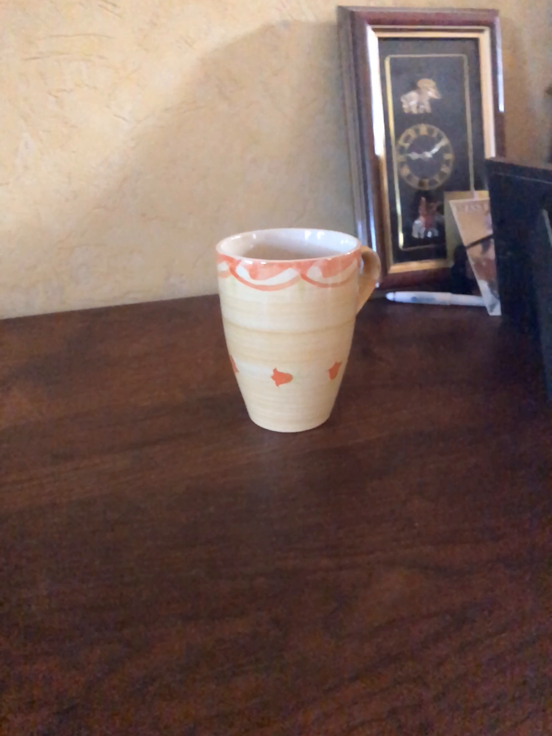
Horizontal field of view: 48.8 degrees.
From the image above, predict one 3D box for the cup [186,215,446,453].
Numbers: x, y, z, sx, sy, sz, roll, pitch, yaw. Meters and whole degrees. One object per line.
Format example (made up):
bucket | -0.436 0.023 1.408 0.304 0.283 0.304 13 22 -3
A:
cup | 0.026 -0.031 0.385 0.121 0.099 0.100 -22 32 -37
